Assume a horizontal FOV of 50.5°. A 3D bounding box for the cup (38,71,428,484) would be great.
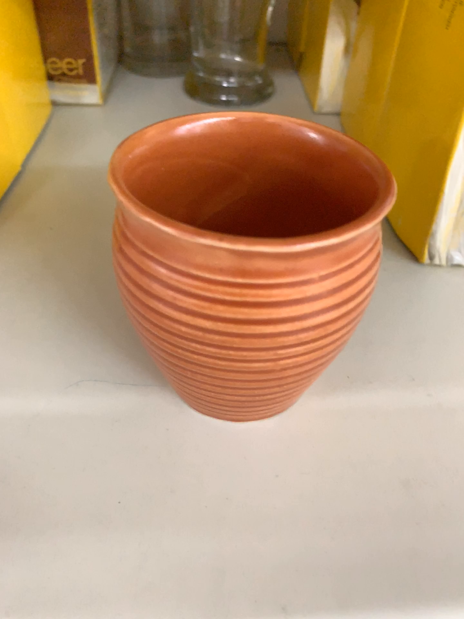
[{"bbox_3d":[0.002,-0.011,0.128,0.060,0.069,0.060,2,42,-2],"label":"cup"}]
